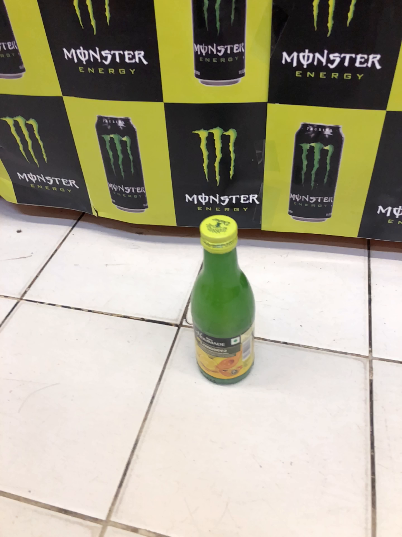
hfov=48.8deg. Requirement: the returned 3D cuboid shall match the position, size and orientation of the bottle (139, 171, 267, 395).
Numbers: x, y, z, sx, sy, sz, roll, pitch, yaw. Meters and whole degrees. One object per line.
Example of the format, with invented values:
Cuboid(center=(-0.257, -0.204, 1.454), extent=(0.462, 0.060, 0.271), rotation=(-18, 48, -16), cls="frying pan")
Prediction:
Cuboid(center=(0.009, 0.019, 0.380), extent=(0.070, 0.179, 0.070), rotation=(-3, 42, 2), cls="bottle")
